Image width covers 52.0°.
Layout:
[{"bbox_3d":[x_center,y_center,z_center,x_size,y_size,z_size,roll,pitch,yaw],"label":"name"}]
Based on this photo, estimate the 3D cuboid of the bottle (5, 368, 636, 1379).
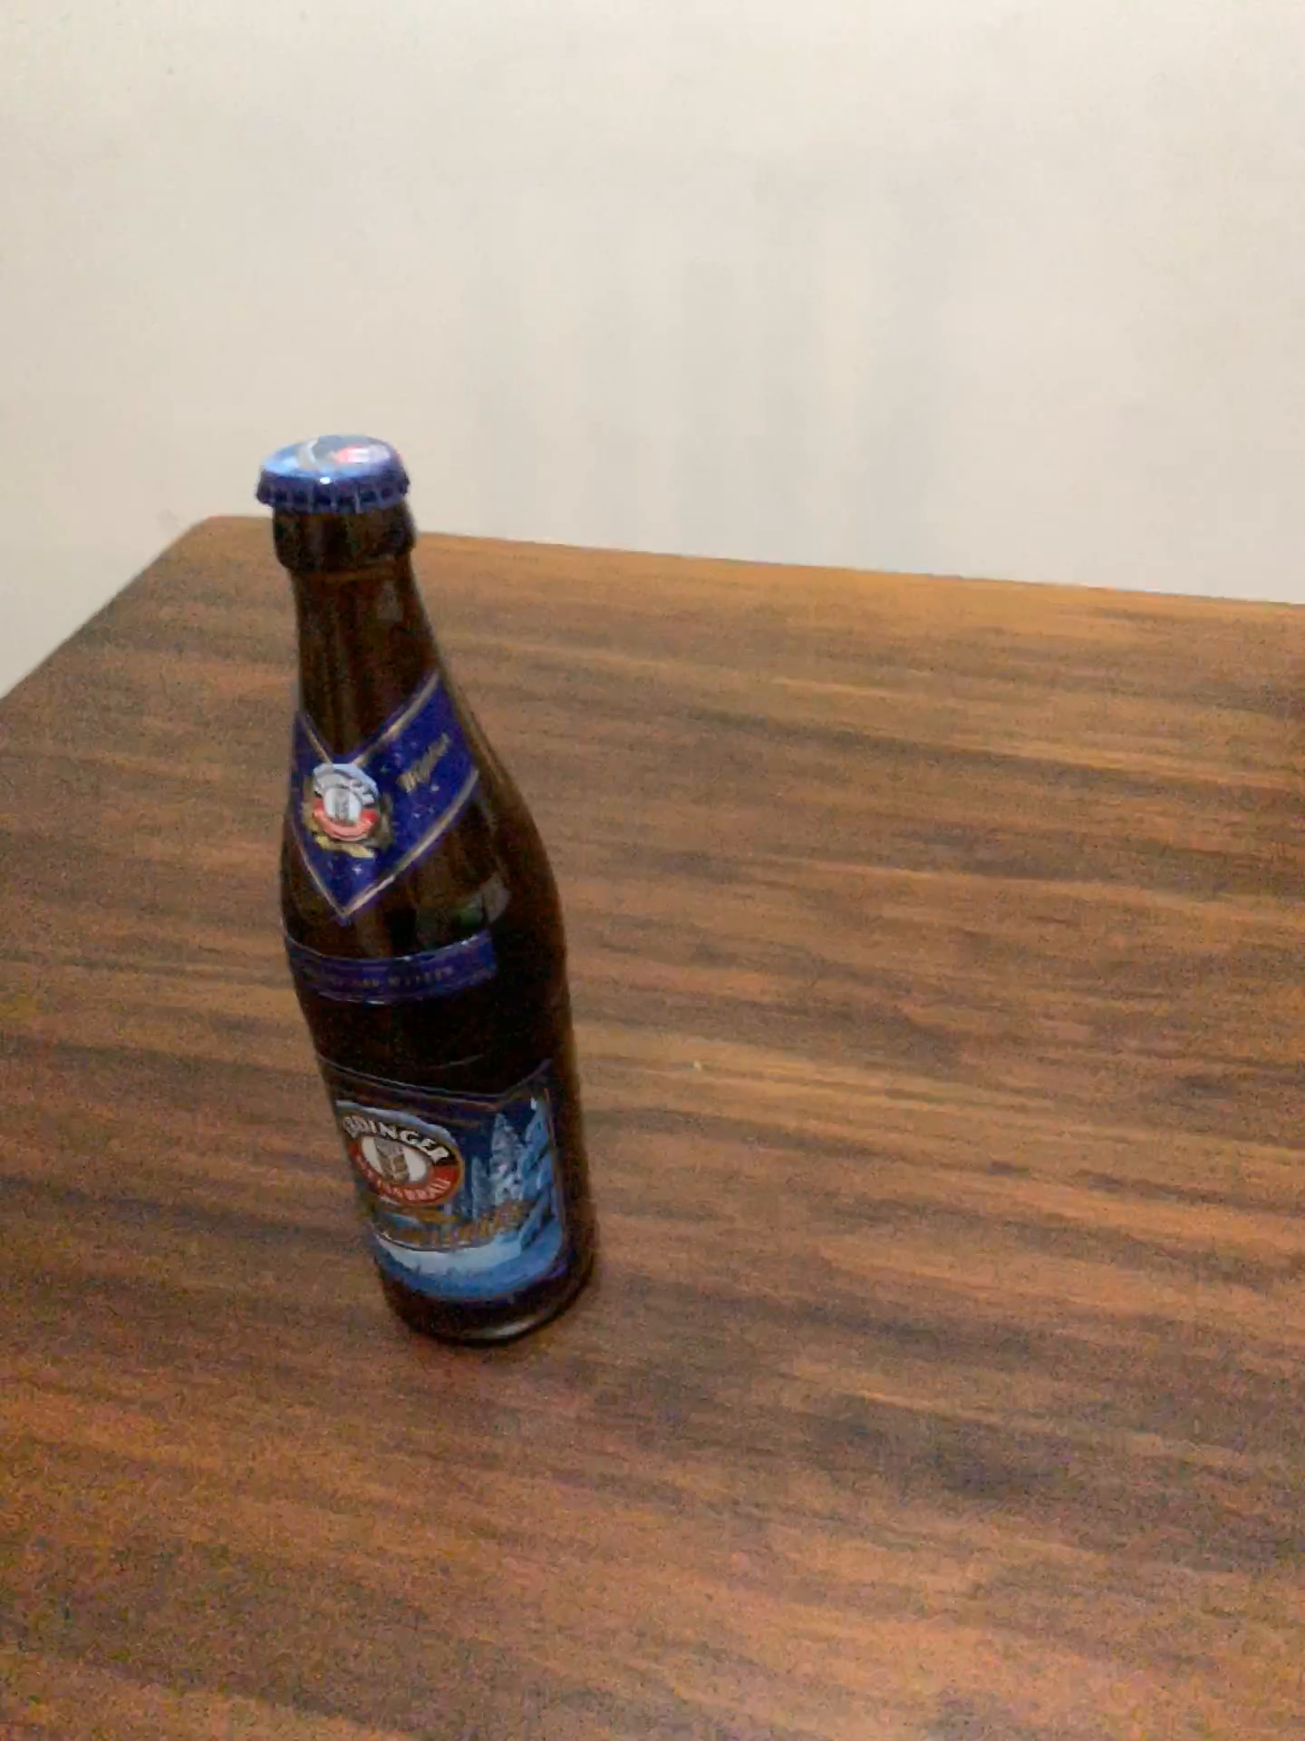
[{"bbox_3d":[-0.057,0.018,0.324,0.080,0.249,0.070,8,42,13],"label":"bottle"}]
